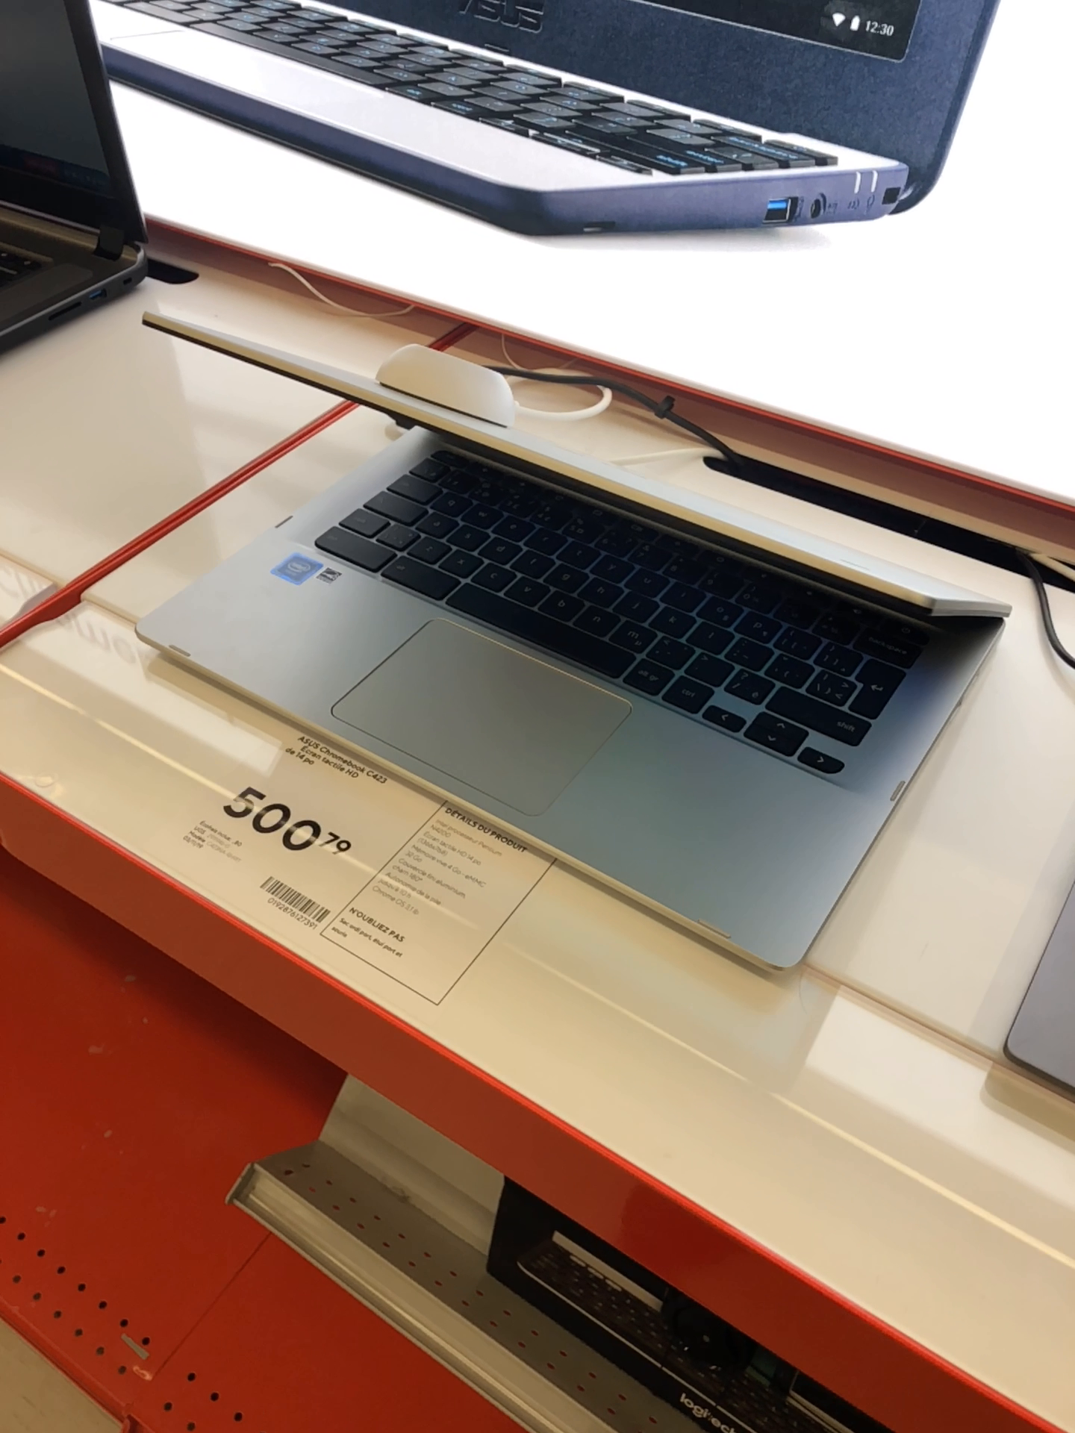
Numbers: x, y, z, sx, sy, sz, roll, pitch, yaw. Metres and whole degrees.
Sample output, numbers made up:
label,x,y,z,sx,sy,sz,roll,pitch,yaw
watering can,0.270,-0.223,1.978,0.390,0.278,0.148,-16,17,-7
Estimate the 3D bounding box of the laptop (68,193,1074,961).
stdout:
label,x,y,z,sx,sy,sz,roll,pitch,yaw
laptop,0.014,-0.084,0.485,0.312,0.118,0.213,25,50,23
